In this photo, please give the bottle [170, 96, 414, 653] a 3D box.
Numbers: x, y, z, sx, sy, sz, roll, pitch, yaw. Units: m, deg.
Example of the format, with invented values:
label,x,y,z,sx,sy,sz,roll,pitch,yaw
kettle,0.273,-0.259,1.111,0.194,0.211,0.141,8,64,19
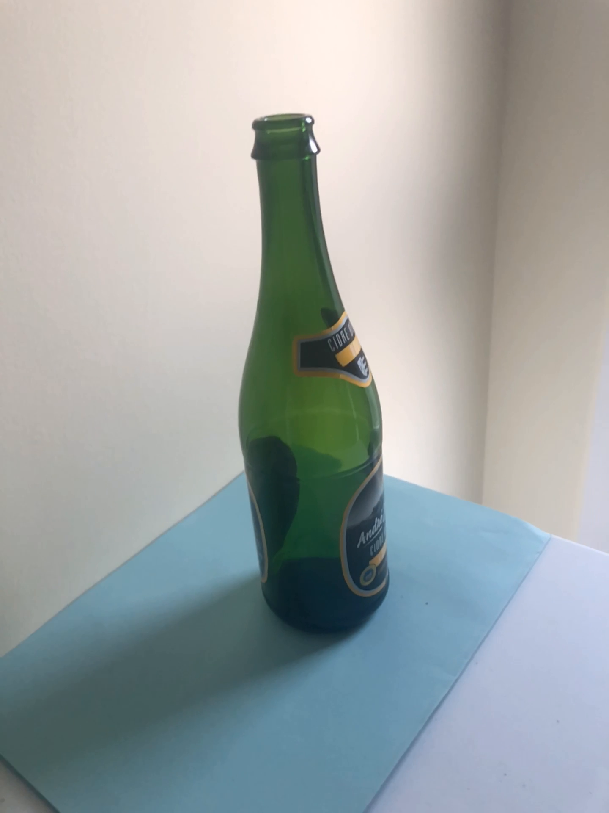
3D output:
label,x,y,z,sx,sy,sz,roll,pitch,yaw
bottle,0.010,-0.009,0.365,0.080,0.278,0.091,6,31,20
